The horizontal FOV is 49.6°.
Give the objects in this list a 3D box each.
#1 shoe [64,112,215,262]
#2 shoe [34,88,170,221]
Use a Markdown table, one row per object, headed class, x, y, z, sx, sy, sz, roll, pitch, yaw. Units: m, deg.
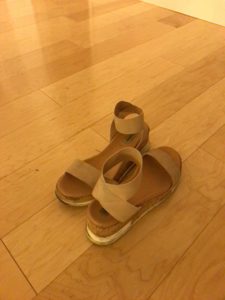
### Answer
| class | x | y | z | sx | sy | sz | roll | pitch | yaw |
| --- | --- | --- | --- | --- | --- | --- | --- | --- | --- |
| shoe | 0.057 | 0.052 | 0.440 | 0.271 | 0.109 | 0.090 | -34 | 55 | -29 |
| shoe | -0.007 | -0.006 | 0.497 | 0.100 | 0.109 | 0.271 | 32 | 53 | 26 |
